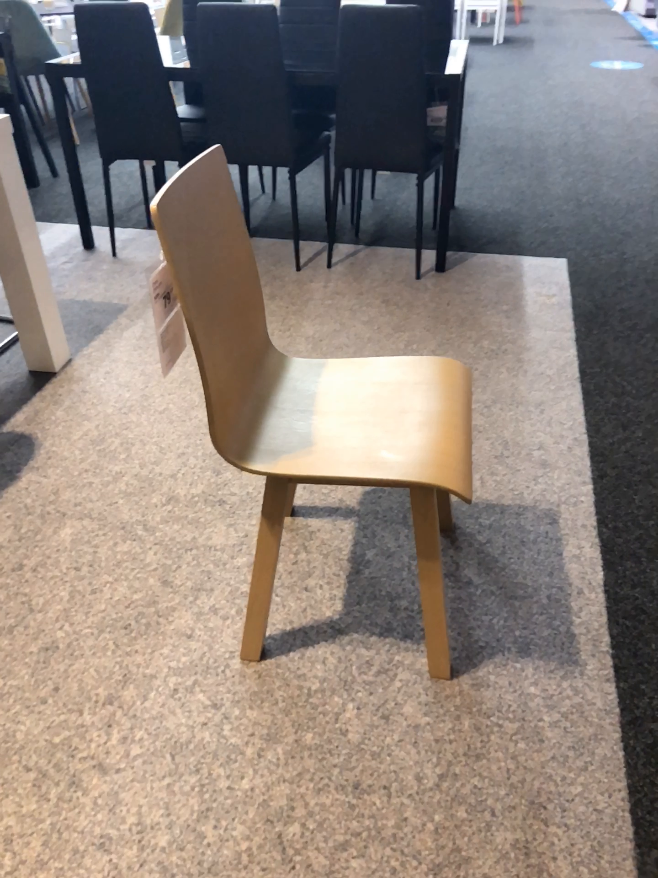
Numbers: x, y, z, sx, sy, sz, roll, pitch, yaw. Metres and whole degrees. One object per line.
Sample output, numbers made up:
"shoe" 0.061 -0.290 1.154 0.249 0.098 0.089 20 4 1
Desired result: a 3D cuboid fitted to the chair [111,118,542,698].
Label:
"chair" 0.027 -0.054 1.259 0.490 0.835 0.523 4 35 6
